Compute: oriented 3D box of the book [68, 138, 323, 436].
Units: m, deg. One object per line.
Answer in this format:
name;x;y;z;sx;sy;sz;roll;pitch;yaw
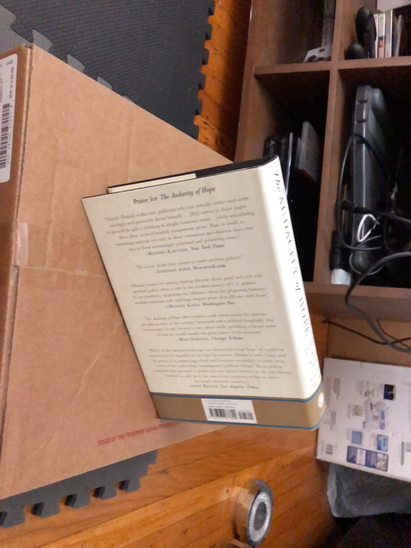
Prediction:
book;0.001;0.023;0.416;0.060;0.169;0.250;-51;132;-56
